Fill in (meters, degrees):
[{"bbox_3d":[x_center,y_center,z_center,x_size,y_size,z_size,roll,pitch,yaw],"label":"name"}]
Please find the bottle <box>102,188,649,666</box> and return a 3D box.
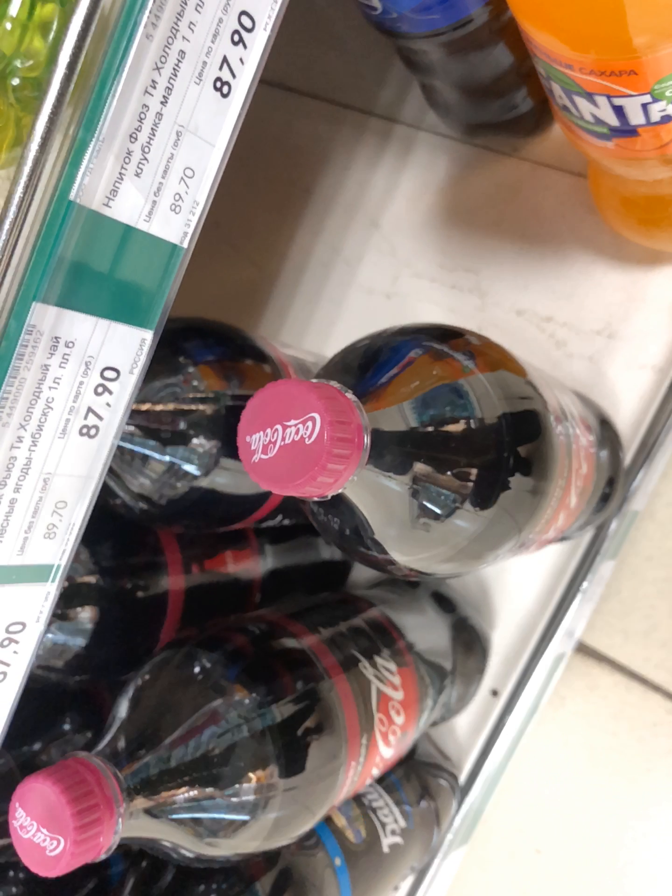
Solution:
[{"bbox_3d":[0.055,-0.001,0.318,0.088,0.296,0.092,-2,86,27],"label":"bottle"}]
